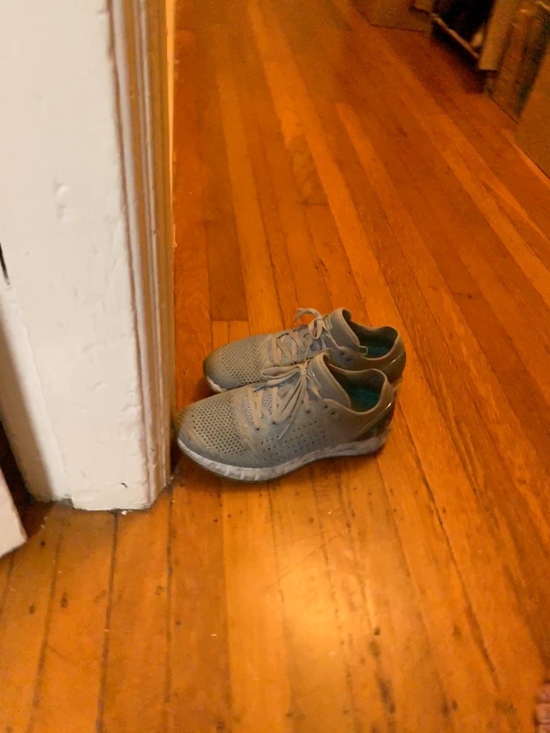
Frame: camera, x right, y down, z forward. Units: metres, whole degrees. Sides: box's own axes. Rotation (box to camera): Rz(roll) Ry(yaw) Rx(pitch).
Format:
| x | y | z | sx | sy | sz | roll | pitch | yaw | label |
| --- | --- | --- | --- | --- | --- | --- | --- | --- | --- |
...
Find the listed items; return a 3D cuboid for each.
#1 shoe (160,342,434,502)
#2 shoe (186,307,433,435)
| x | y | z | sx | sy | sz | roll | pitch | yaw | label |
| --- | --- | --- | --- | --- | --- | --- | --- | --- | --- |
| 0.017 | 0.053 | 0.601 | 0.260 | 0.080 | 0.111 | -7 | 47 | -15 | shoe |
| 0.032 | 0.002 | 0.682 | 0.270 | 0.090 | 0.111 | -3 | 46 | -12 | shoe |
